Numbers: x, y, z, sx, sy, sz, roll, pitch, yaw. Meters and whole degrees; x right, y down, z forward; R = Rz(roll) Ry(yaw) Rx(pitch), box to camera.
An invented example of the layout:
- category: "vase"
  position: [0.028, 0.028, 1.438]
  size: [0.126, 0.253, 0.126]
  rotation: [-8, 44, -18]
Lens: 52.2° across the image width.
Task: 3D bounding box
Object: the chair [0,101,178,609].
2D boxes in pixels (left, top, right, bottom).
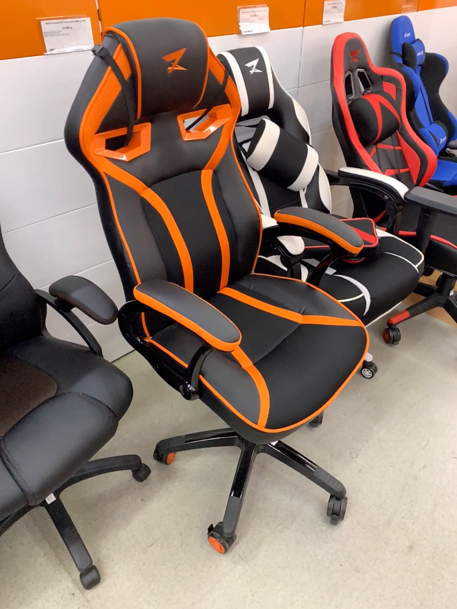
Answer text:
- category: "chair"
  position: [-0.742, 0.258, 1.312]
  size: [0.721, 1.322, 0.823]
  rotation: [26, 43, 32]

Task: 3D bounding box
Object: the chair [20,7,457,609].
- category: "chair"
  position: [0.108, -0.011, 1.290]
  size: [0.722, 1.312, 0.732]
  rotation: [-30, 44, -34]

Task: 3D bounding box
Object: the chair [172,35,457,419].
- category: "chair"
  position: [0.406, -0.381, 1.962]
  size: [0.822, 1.193, 0.853]
  rotation: [26, 44, 32]
